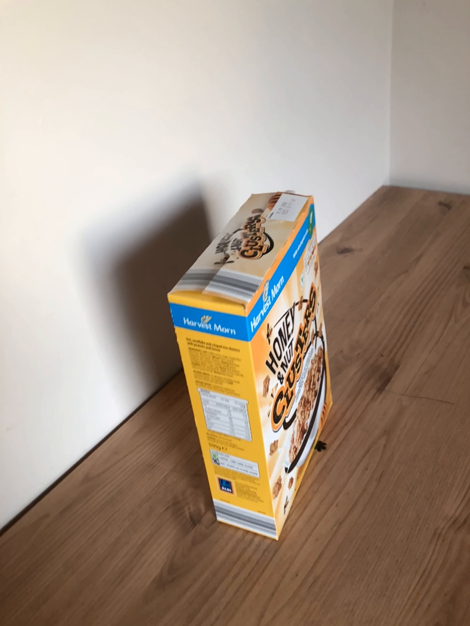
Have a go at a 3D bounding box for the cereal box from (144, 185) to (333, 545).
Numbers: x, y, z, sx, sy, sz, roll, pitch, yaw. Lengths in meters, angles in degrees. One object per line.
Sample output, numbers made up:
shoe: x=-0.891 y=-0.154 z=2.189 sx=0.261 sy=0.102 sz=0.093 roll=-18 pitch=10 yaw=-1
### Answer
cereal box: x=0.026 y=0.042 z=0.467 sx=0.070 sy=0.248 sz=0.191 roll=8 pitch=38 yaw=23
